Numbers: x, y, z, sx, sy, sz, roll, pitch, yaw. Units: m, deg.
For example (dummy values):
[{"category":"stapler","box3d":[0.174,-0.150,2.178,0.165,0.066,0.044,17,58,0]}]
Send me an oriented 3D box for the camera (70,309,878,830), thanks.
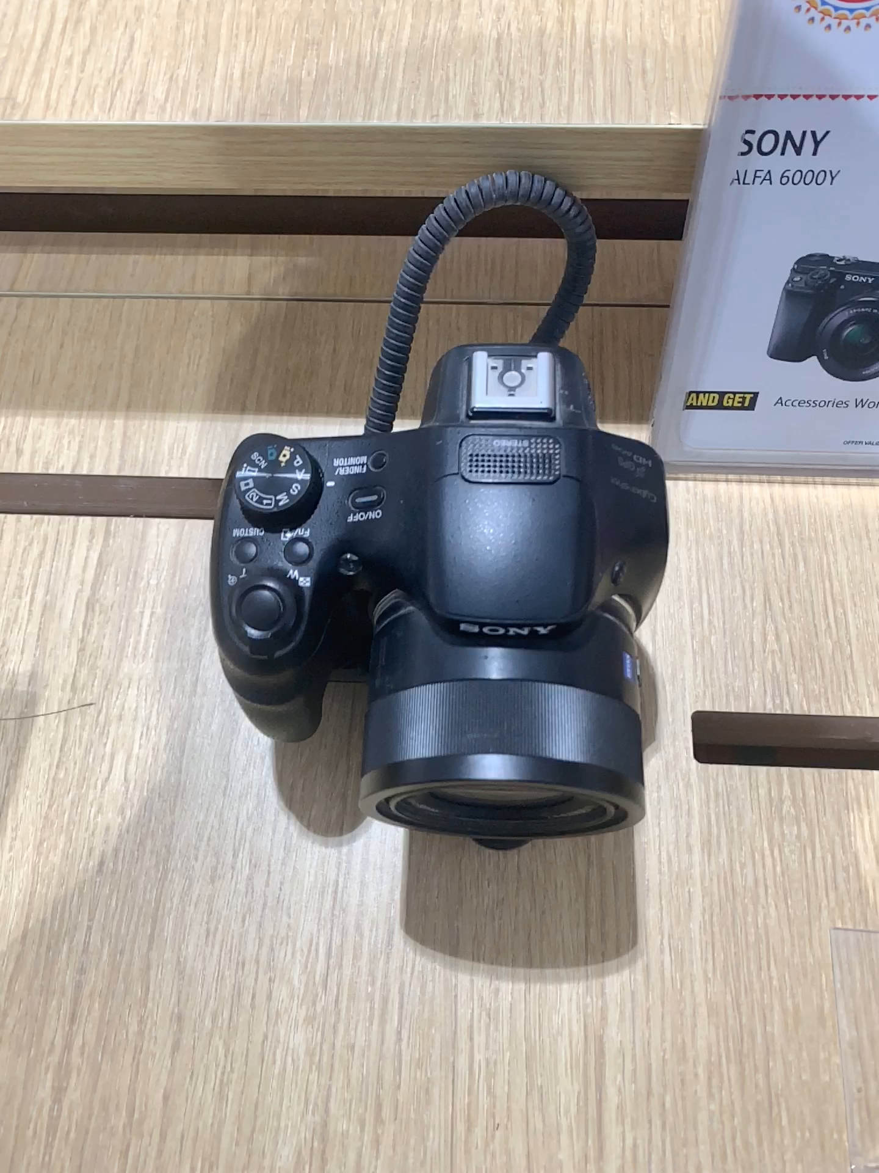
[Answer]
[{"category":"camera","box3d":[0.009,0.003,0.216,0.140,0.100,0.090,1,67,2]}]
